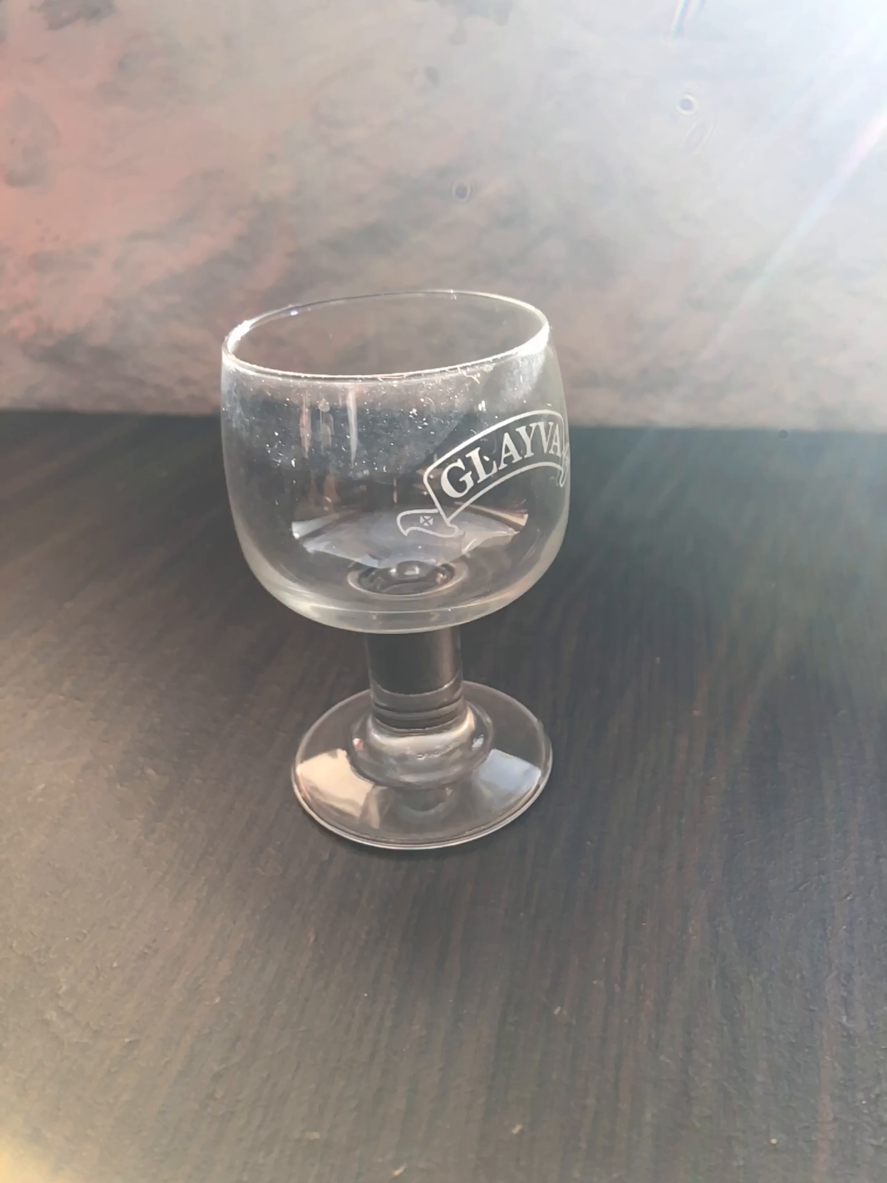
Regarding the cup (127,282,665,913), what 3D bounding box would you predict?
[{"bbox_3d":[-0.009,-0.008,0.233,0.077,0.107,0.085,-25,33,-36],"label":"cup"}]
